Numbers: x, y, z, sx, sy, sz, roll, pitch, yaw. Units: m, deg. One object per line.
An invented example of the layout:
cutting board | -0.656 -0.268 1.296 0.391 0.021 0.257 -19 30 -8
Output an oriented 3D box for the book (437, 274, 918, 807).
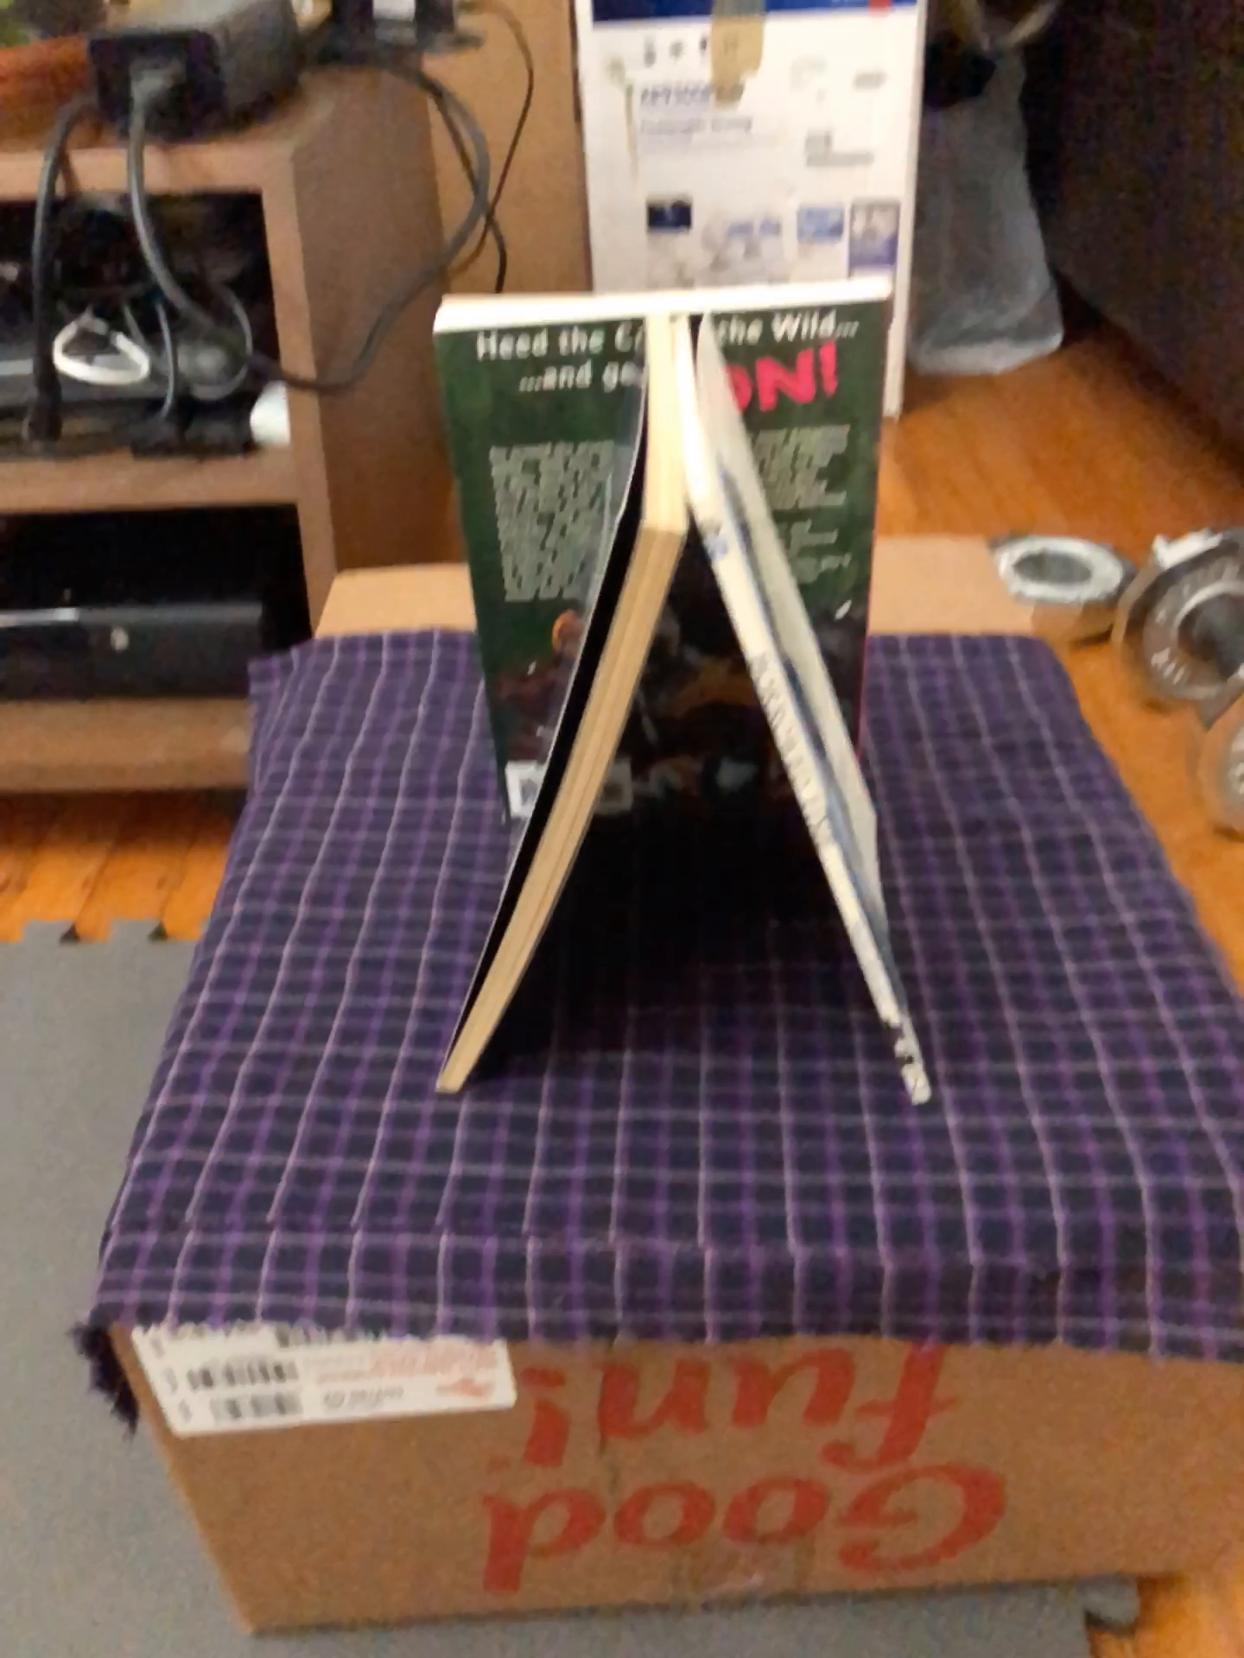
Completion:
book | 0.020 -0.088 0.469 0.140 0.189 0.020 -3 43 1

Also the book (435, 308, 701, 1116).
book | -0.016 -0.035 0.411 0.010 0.199 0.151 16 37 -8

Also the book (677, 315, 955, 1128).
book | 0.056 -0.032 0.397 0.010 0.199 0.141 -17 33 13
